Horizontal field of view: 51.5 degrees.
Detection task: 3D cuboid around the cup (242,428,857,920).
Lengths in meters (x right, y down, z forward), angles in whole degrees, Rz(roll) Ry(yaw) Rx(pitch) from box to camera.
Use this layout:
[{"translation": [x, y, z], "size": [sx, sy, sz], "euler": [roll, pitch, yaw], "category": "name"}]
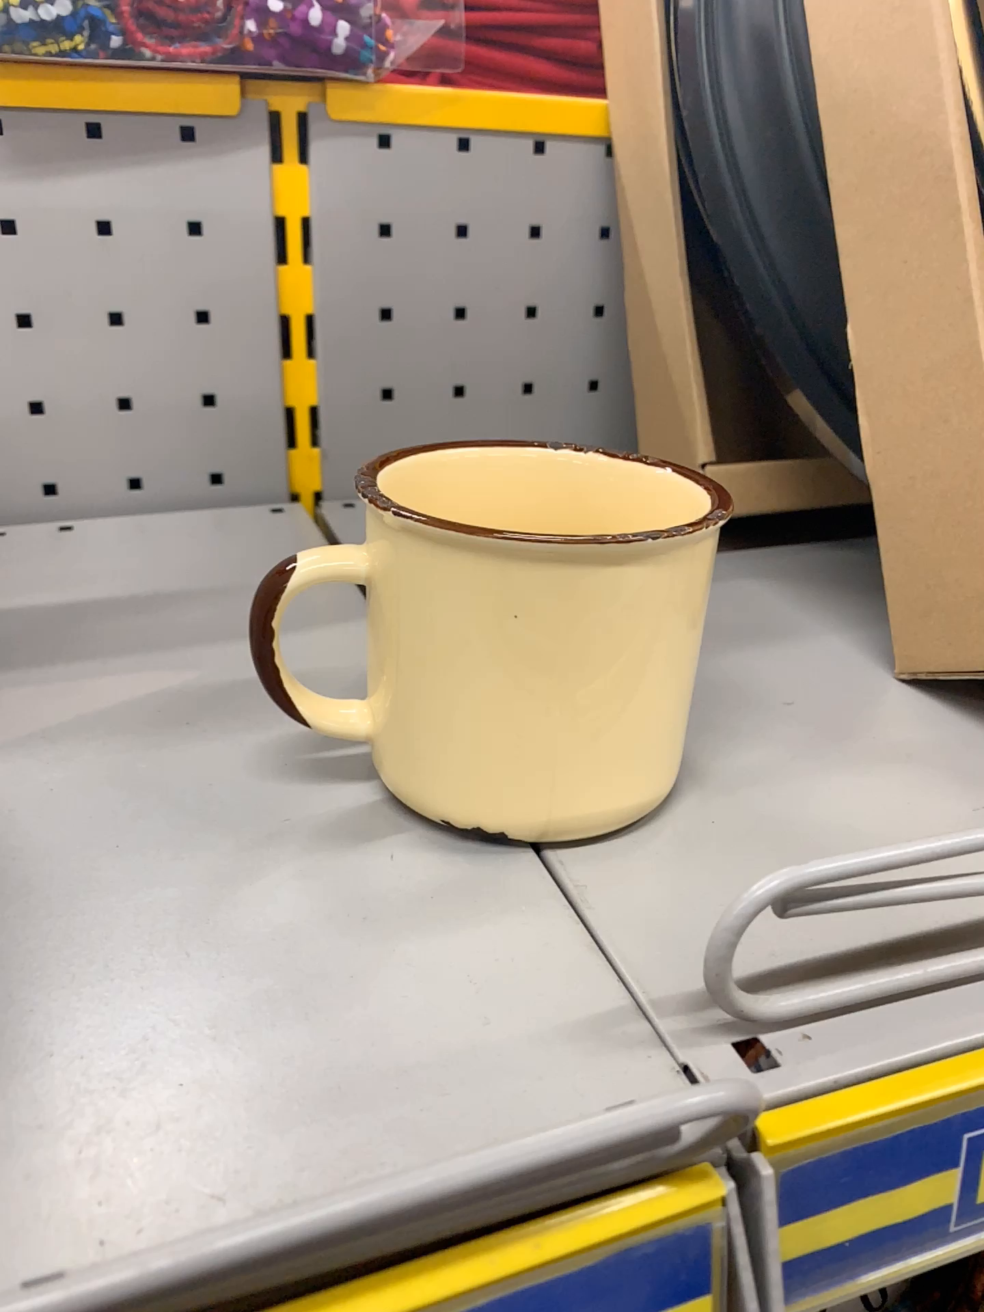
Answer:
[{"translation": [0.004, -0.004, 0.252], "size": [0.120, 0.080, 0.090], "euler": [-5, 26, -14], "category": "cup"}]
